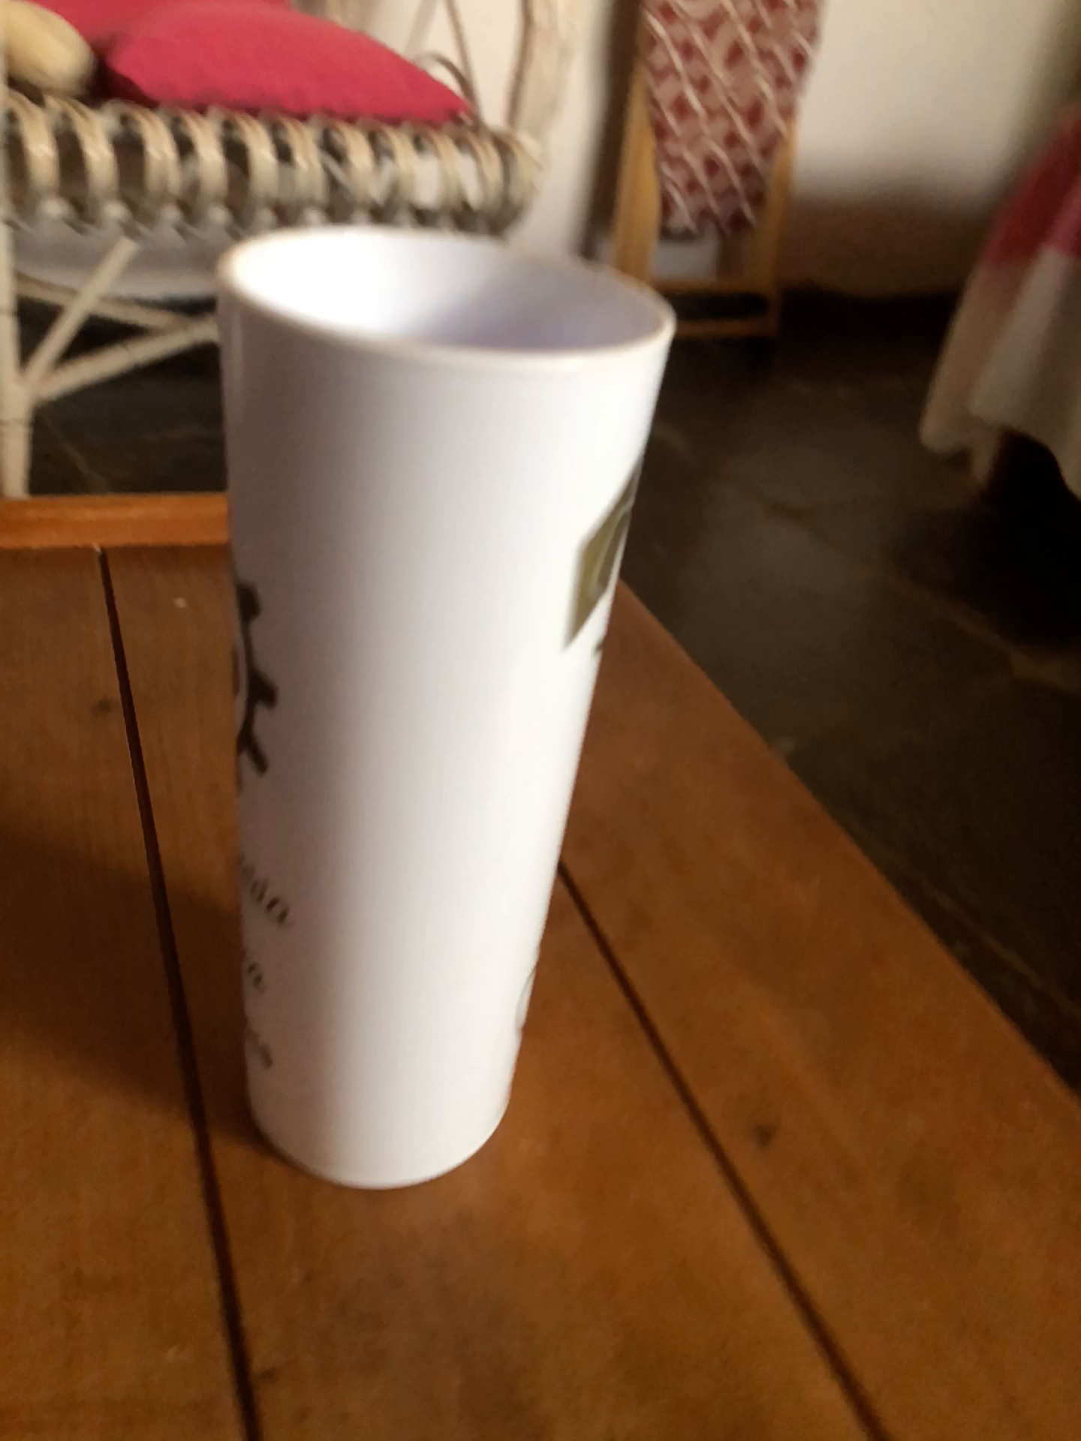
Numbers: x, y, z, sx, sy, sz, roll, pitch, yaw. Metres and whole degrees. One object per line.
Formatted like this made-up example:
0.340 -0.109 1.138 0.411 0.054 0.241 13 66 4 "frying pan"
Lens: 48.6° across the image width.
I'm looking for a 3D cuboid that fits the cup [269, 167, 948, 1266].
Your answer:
-0.007 0.006 0.195 0.070 0.159 0.071 7 33 -4 "cup"
